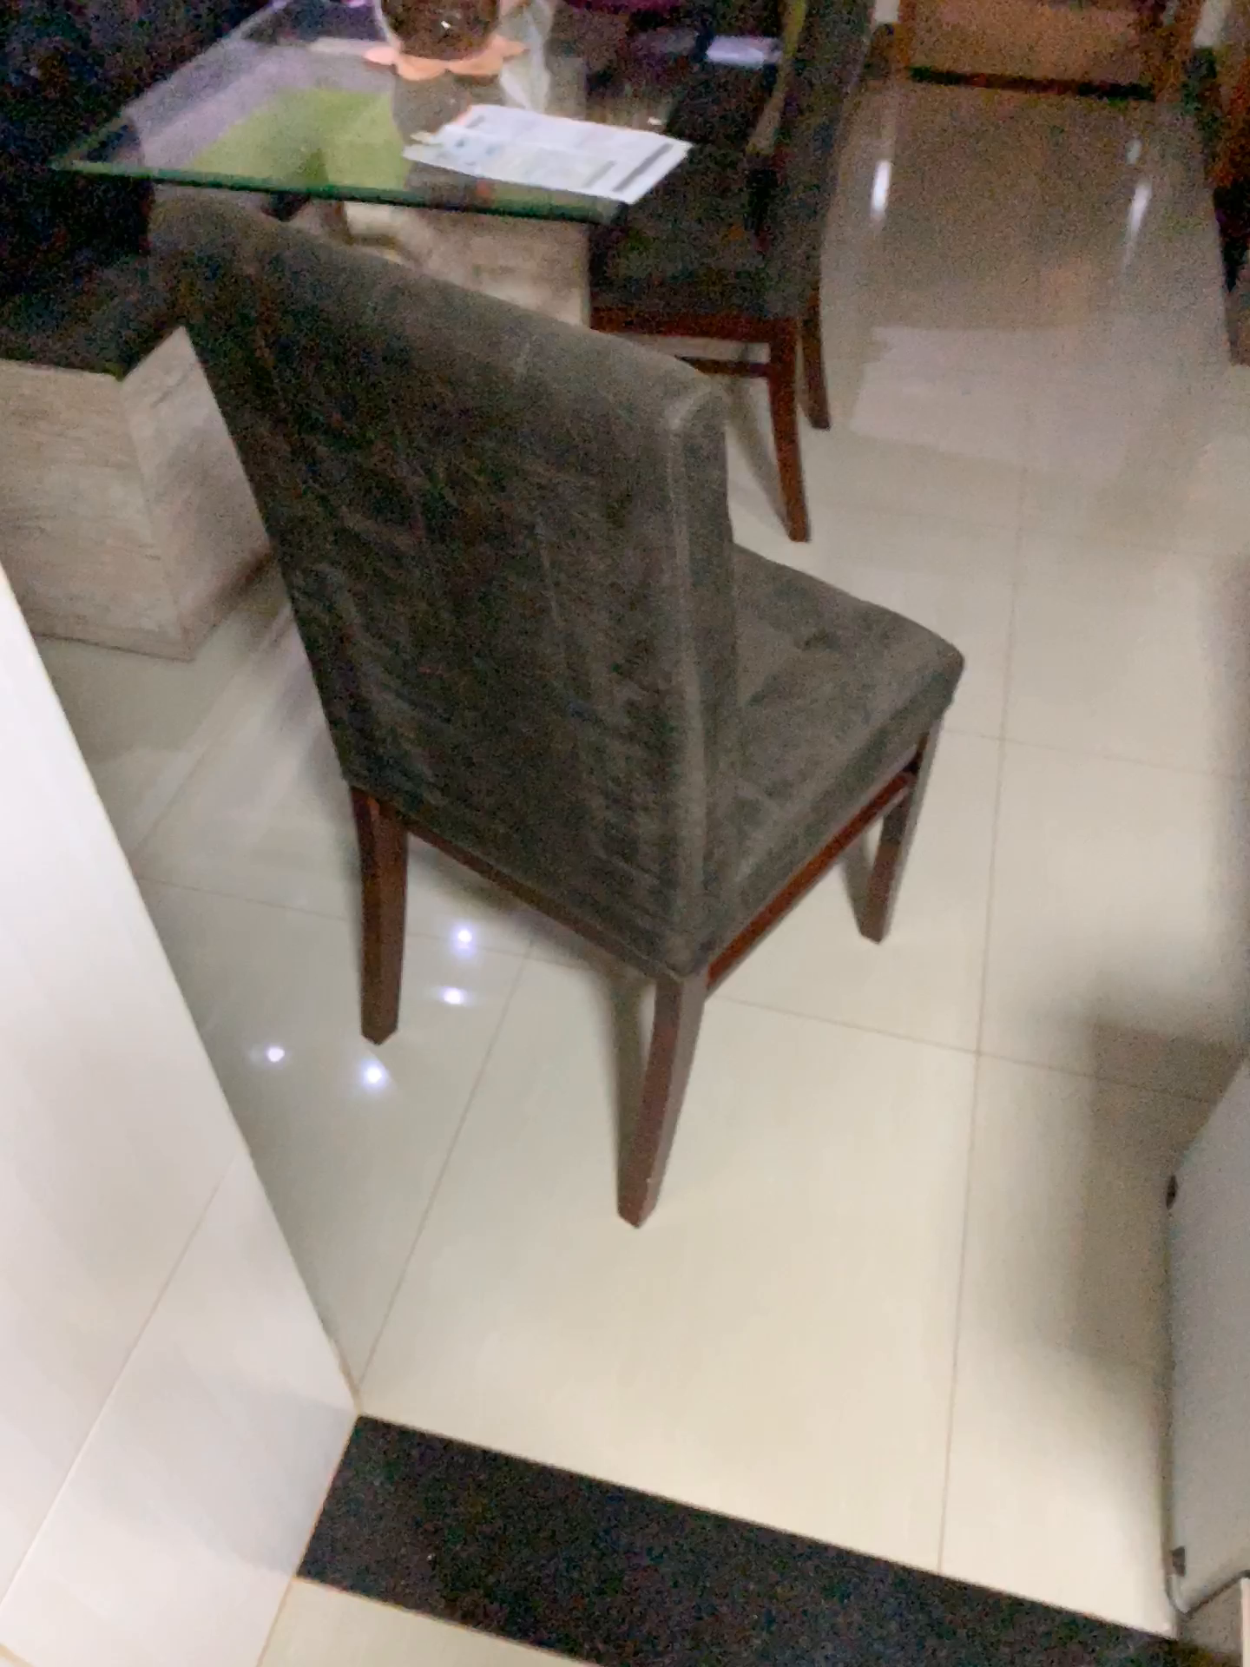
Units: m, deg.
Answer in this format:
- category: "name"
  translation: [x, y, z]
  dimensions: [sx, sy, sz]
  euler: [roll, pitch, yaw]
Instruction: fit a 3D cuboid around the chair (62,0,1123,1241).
- category: "chair"
  translation: [-0.004, -0.184, 1.295]
  dimensions: [0.541, 0.971, 0.574]
  euler: [29, 53, 25]
